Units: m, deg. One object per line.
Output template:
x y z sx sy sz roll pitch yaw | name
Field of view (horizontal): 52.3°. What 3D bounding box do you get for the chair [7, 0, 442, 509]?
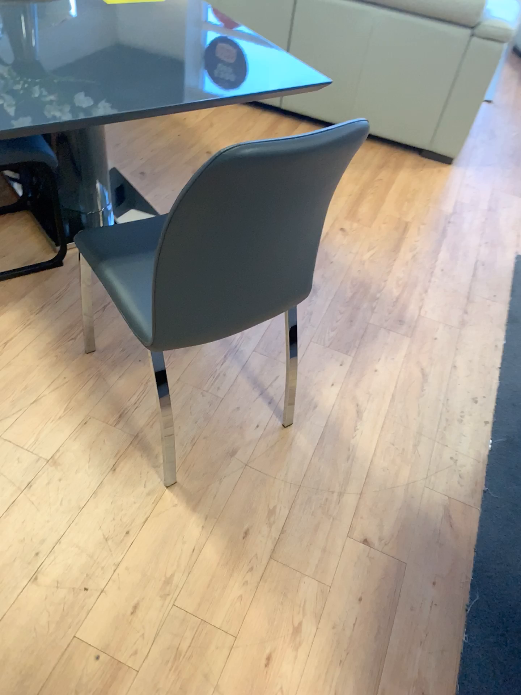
-0.139 -0.209 1.252 0.511 0.912 0.634 -21 53 -27 | chair
